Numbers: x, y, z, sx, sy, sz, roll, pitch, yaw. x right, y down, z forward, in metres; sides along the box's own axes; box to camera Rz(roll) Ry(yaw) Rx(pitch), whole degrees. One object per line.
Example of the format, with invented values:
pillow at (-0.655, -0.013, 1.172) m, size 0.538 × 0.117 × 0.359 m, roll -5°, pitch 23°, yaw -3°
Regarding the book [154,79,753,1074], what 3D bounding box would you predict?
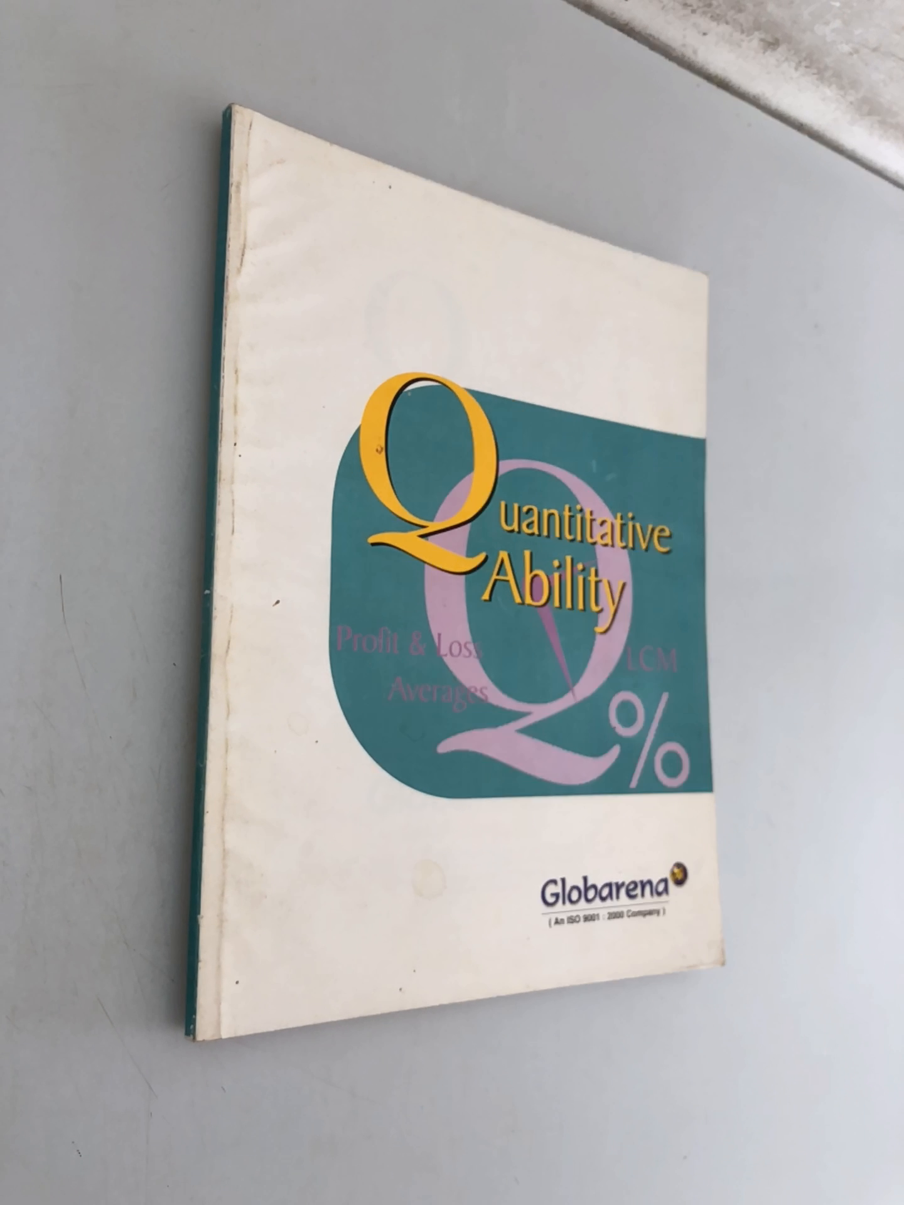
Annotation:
book at (0.016, -0.004, 0.302) m, size 0.191 × 0.020 × 0.240 m, roll 6°, pitch 82°, yaw -33°
